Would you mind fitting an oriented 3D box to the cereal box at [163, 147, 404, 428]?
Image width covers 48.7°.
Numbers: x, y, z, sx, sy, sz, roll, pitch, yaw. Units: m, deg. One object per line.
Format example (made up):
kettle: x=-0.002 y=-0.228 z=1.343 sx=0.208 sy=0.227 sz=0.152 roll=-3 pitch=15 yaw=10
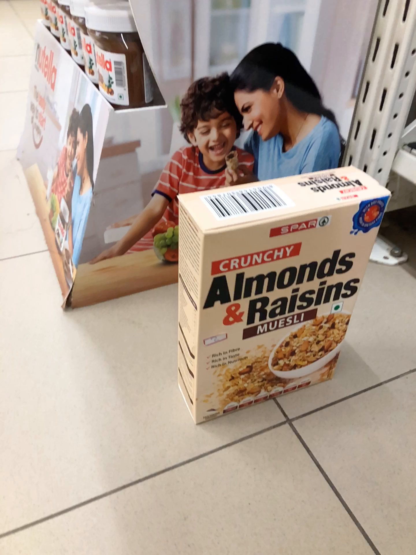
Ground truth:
cereal box: x=0.057 y=0.016 z=0.429 sx=0.181 sy=0.238 sz=0.060 roll=-14 pitch=41 yaw=-19
